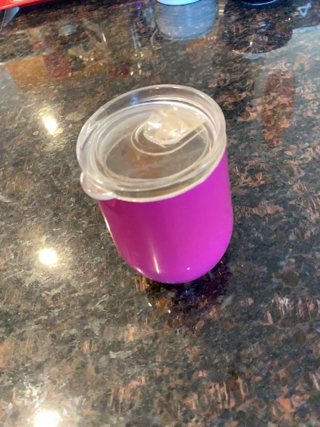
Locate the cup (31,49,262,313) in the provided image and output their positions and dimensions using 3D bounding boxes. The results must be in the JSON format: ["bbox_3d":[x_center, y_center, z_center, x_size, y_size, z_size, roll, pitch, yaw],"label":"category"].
[{"bbox_3d":[-0.006,-0.015,0.207,0.090,0.110,0.090,-5,54,7],"label":"cup"}]
